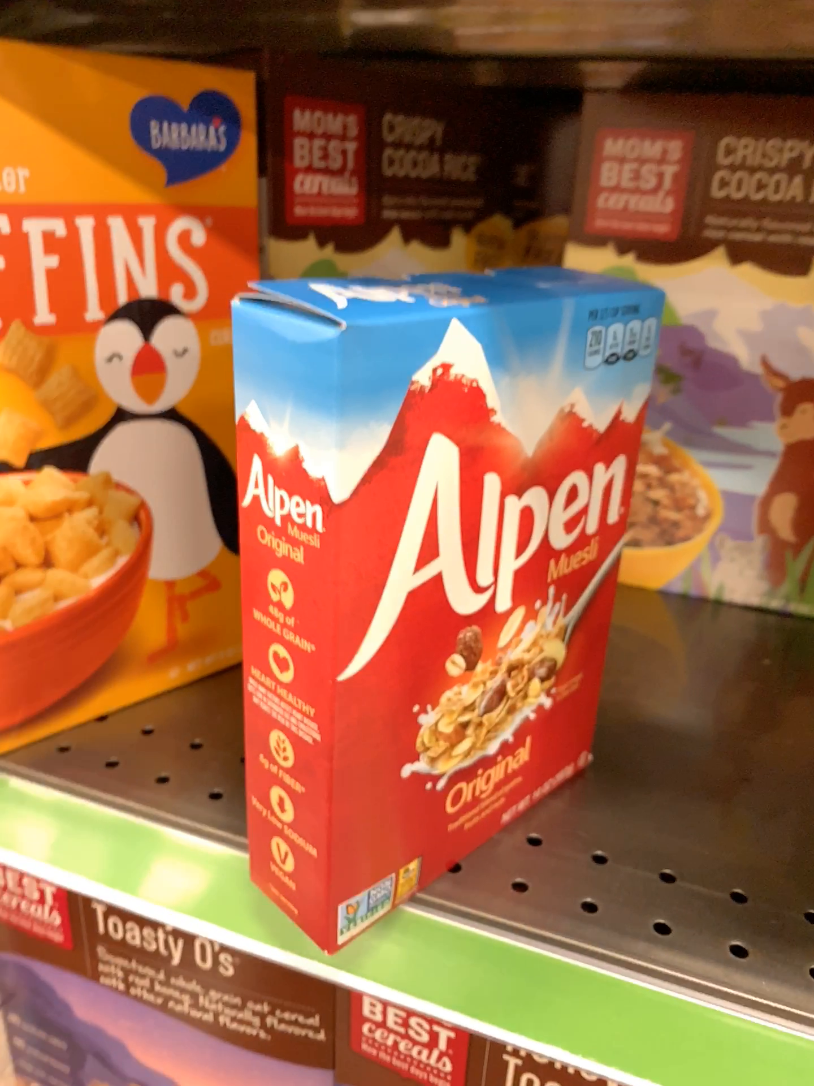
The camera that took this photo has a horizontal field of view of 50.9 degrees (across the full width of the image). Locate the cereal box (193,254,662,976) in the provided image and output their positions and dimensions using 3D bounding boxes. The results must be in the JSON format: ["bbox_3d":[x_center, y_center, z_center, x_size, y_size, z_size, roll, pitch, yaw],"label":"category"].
[{"bbox_3d":[0.012,0.014,0.295,0.160,0.209,0.040,-19,31,-41],"label":"cereal box"}]
